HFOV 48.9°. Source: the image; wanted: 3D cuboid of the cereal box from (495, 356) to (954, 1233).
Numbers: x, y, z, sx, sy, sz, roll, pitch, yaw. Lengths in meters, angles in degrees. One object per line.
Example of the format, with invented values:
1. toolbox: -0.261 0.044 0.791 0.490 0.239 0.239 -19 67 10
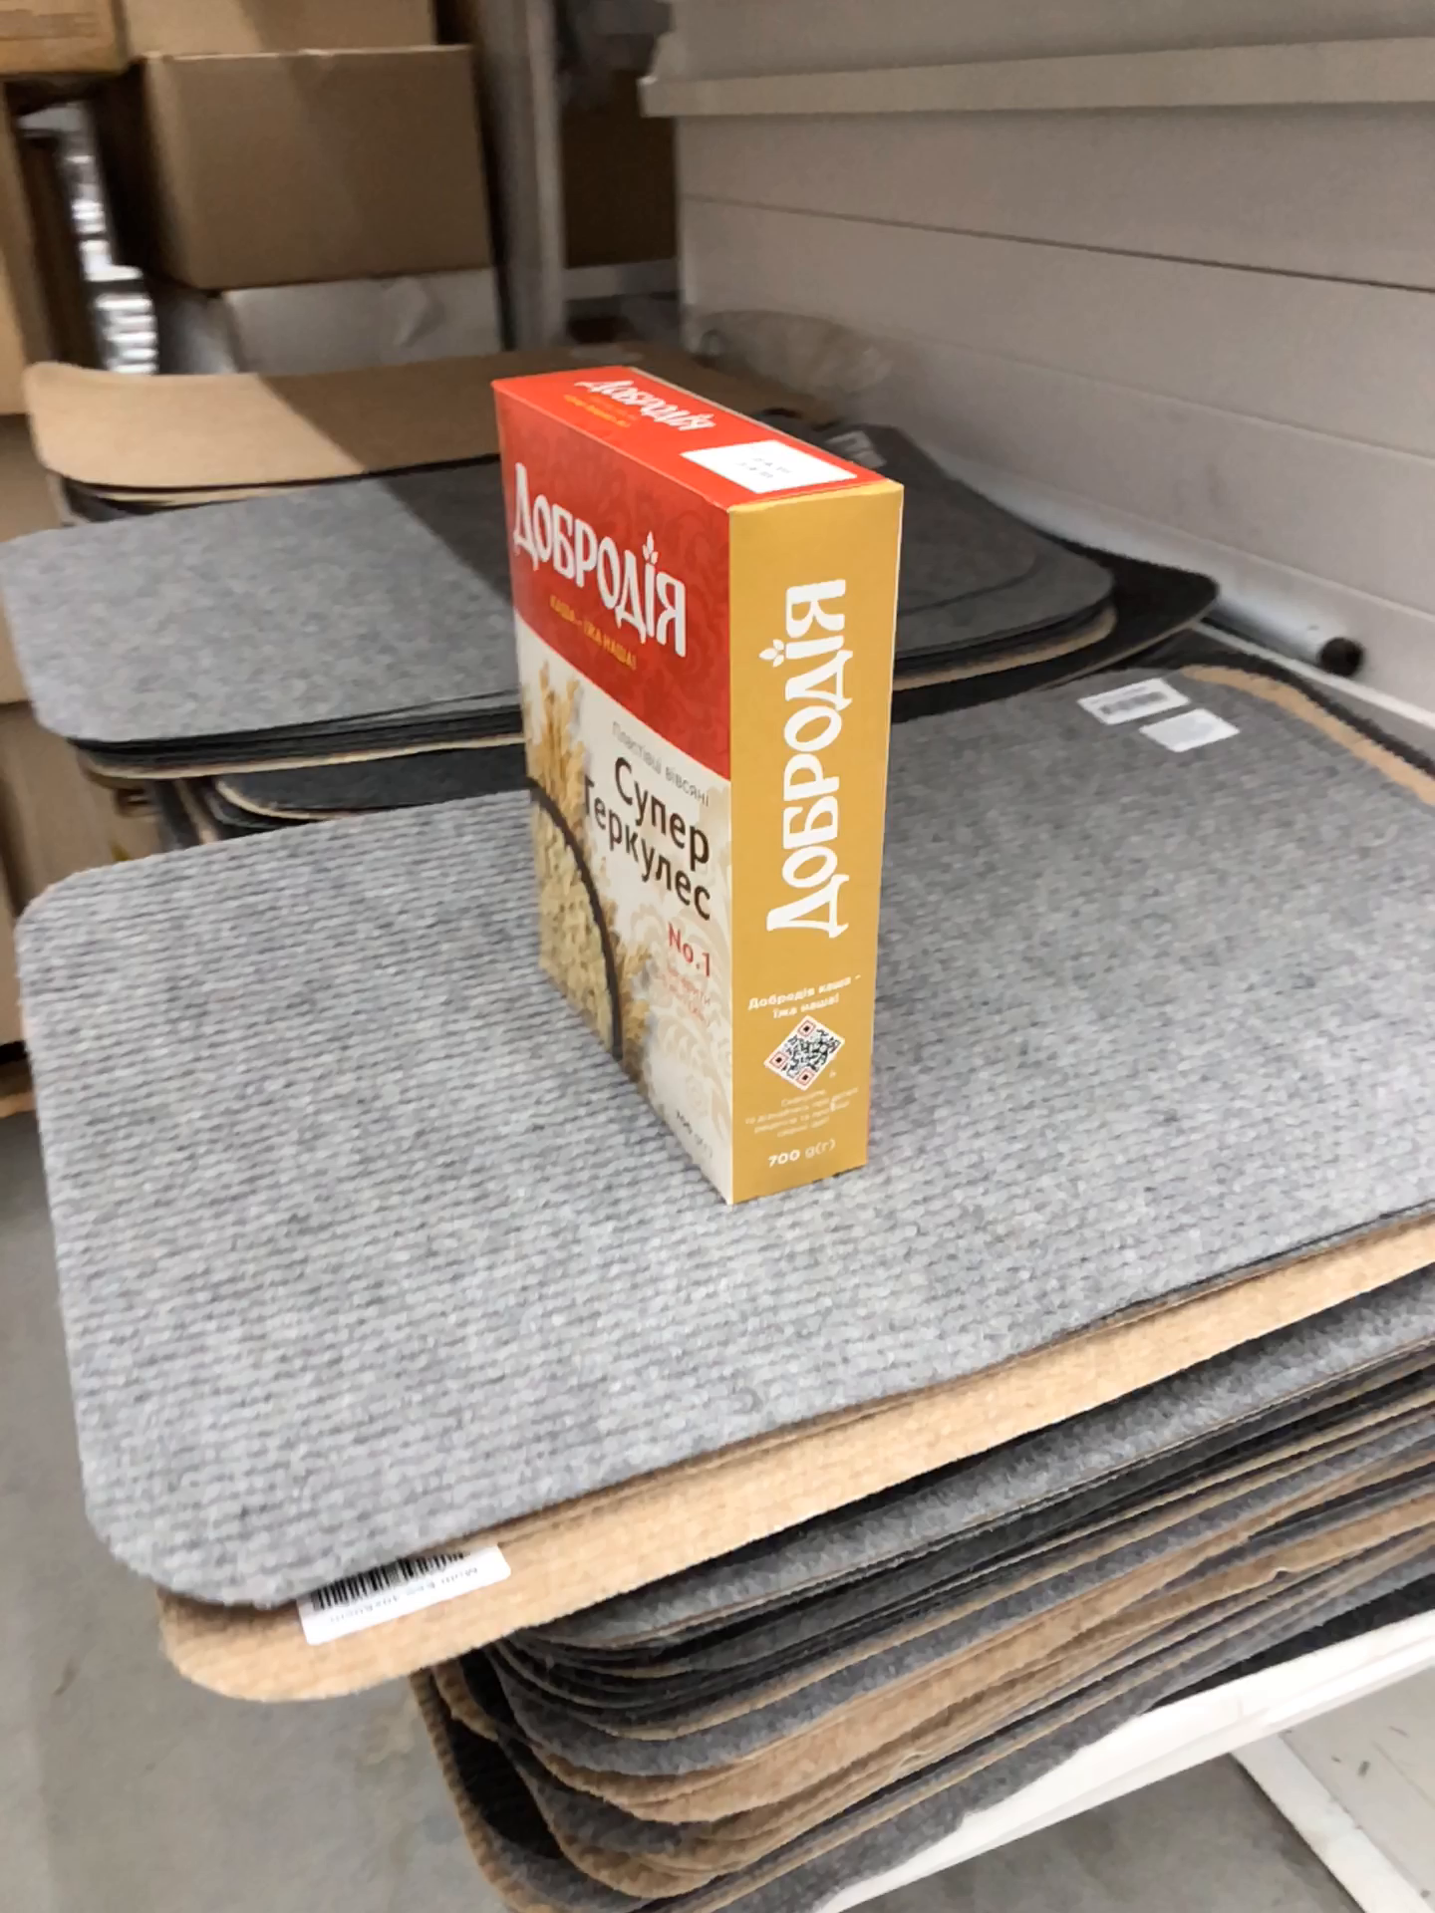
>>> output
1. cereal box: -0.005 -0.060 0.520 0.060 0.228 0.181 -15 33 -22
